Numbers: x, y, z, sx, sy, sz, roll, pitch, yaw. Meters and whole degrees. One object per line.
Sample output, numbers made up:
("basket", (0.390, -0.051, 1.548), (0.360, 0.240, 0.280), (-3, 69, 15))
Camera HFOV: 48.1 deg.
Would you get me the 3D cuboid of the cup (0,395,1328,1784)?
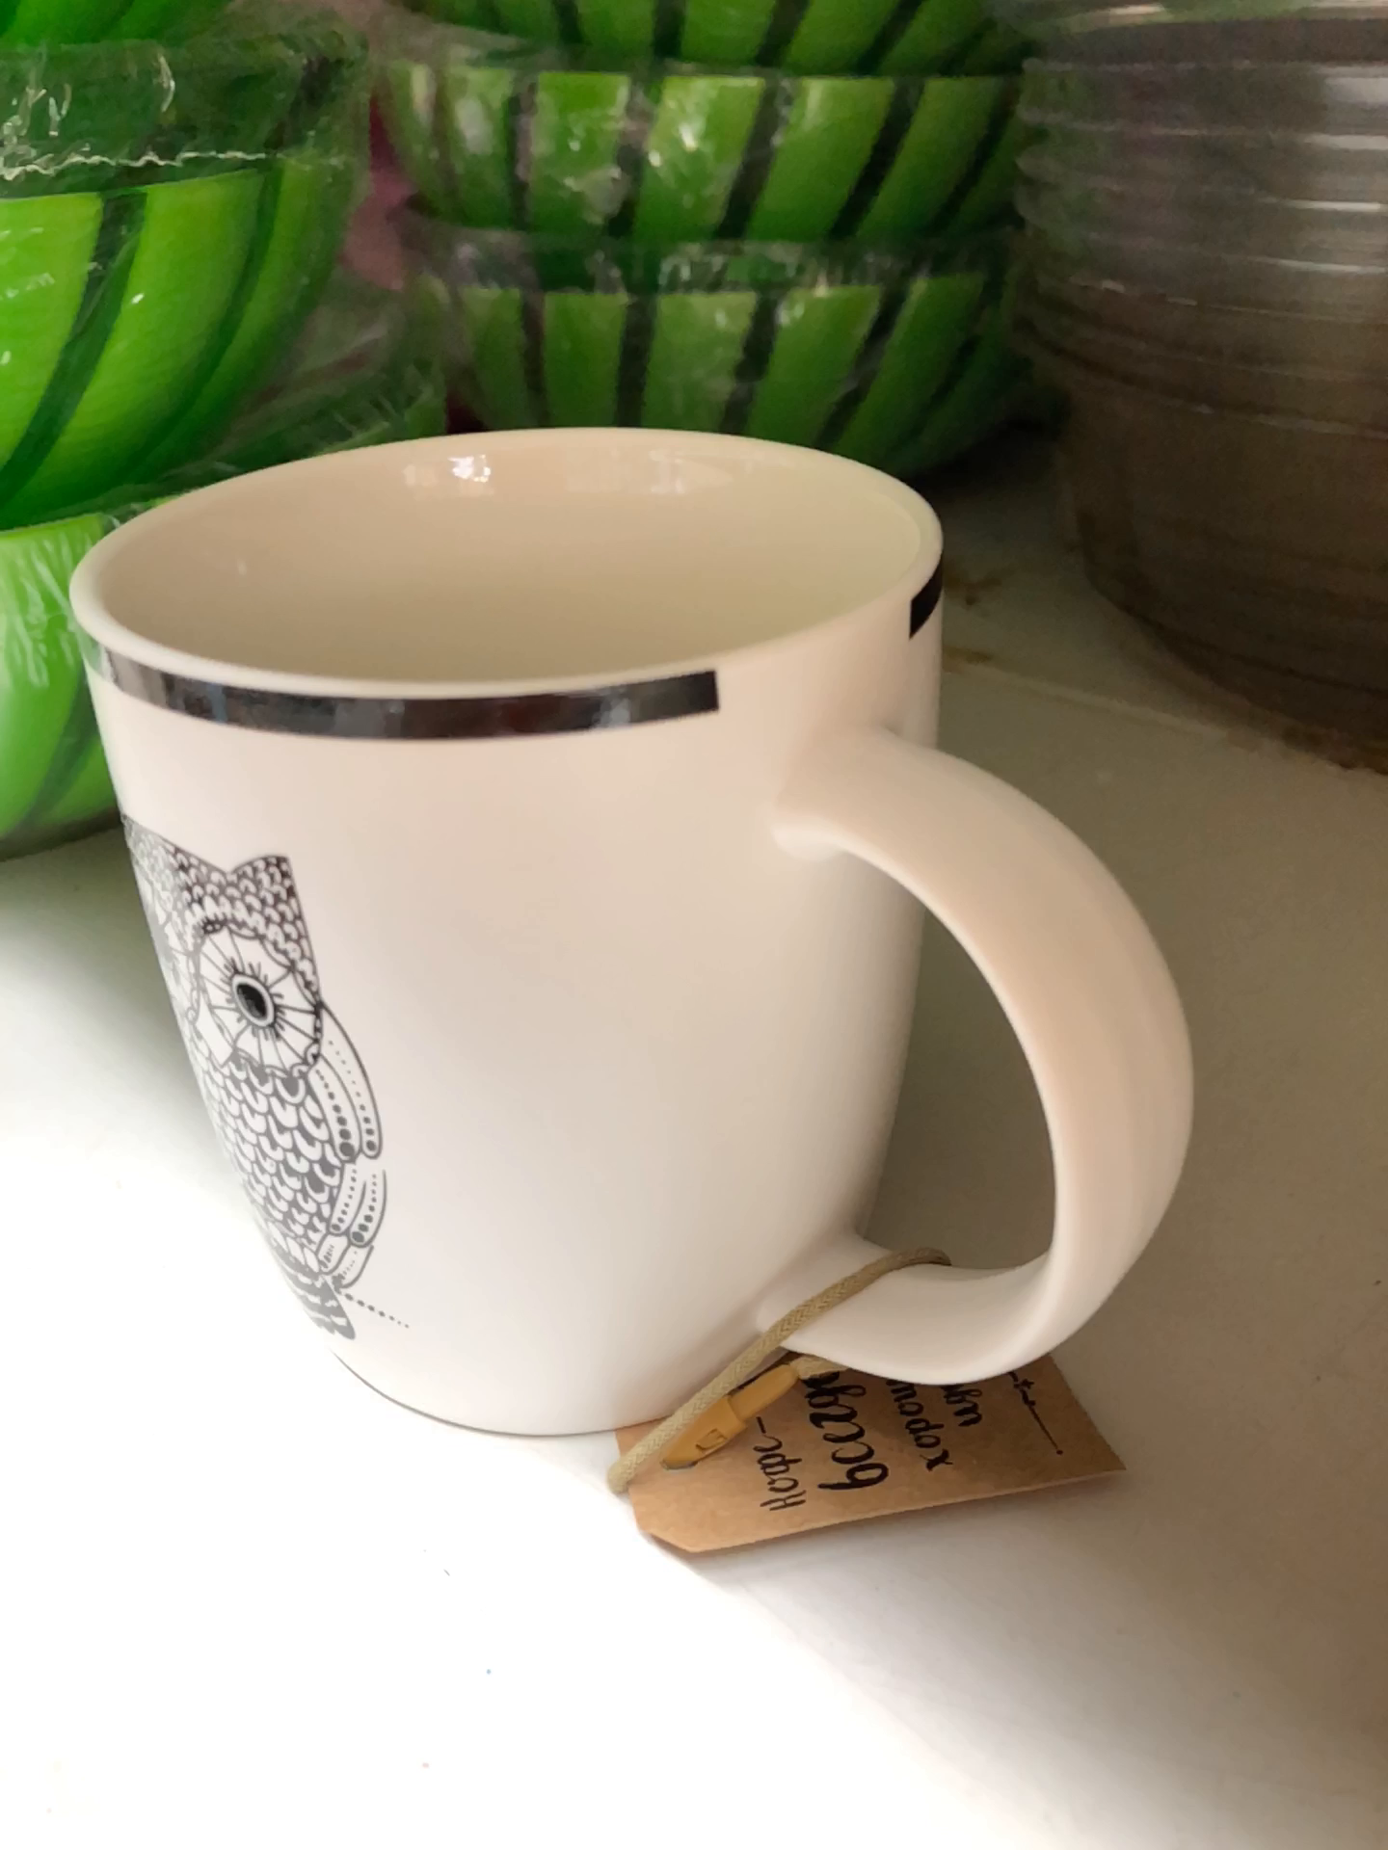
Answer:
("cup", (-0.007, 0.003, 0.169), (0.110, 0.093, 0.077), (20, 37, 34))
